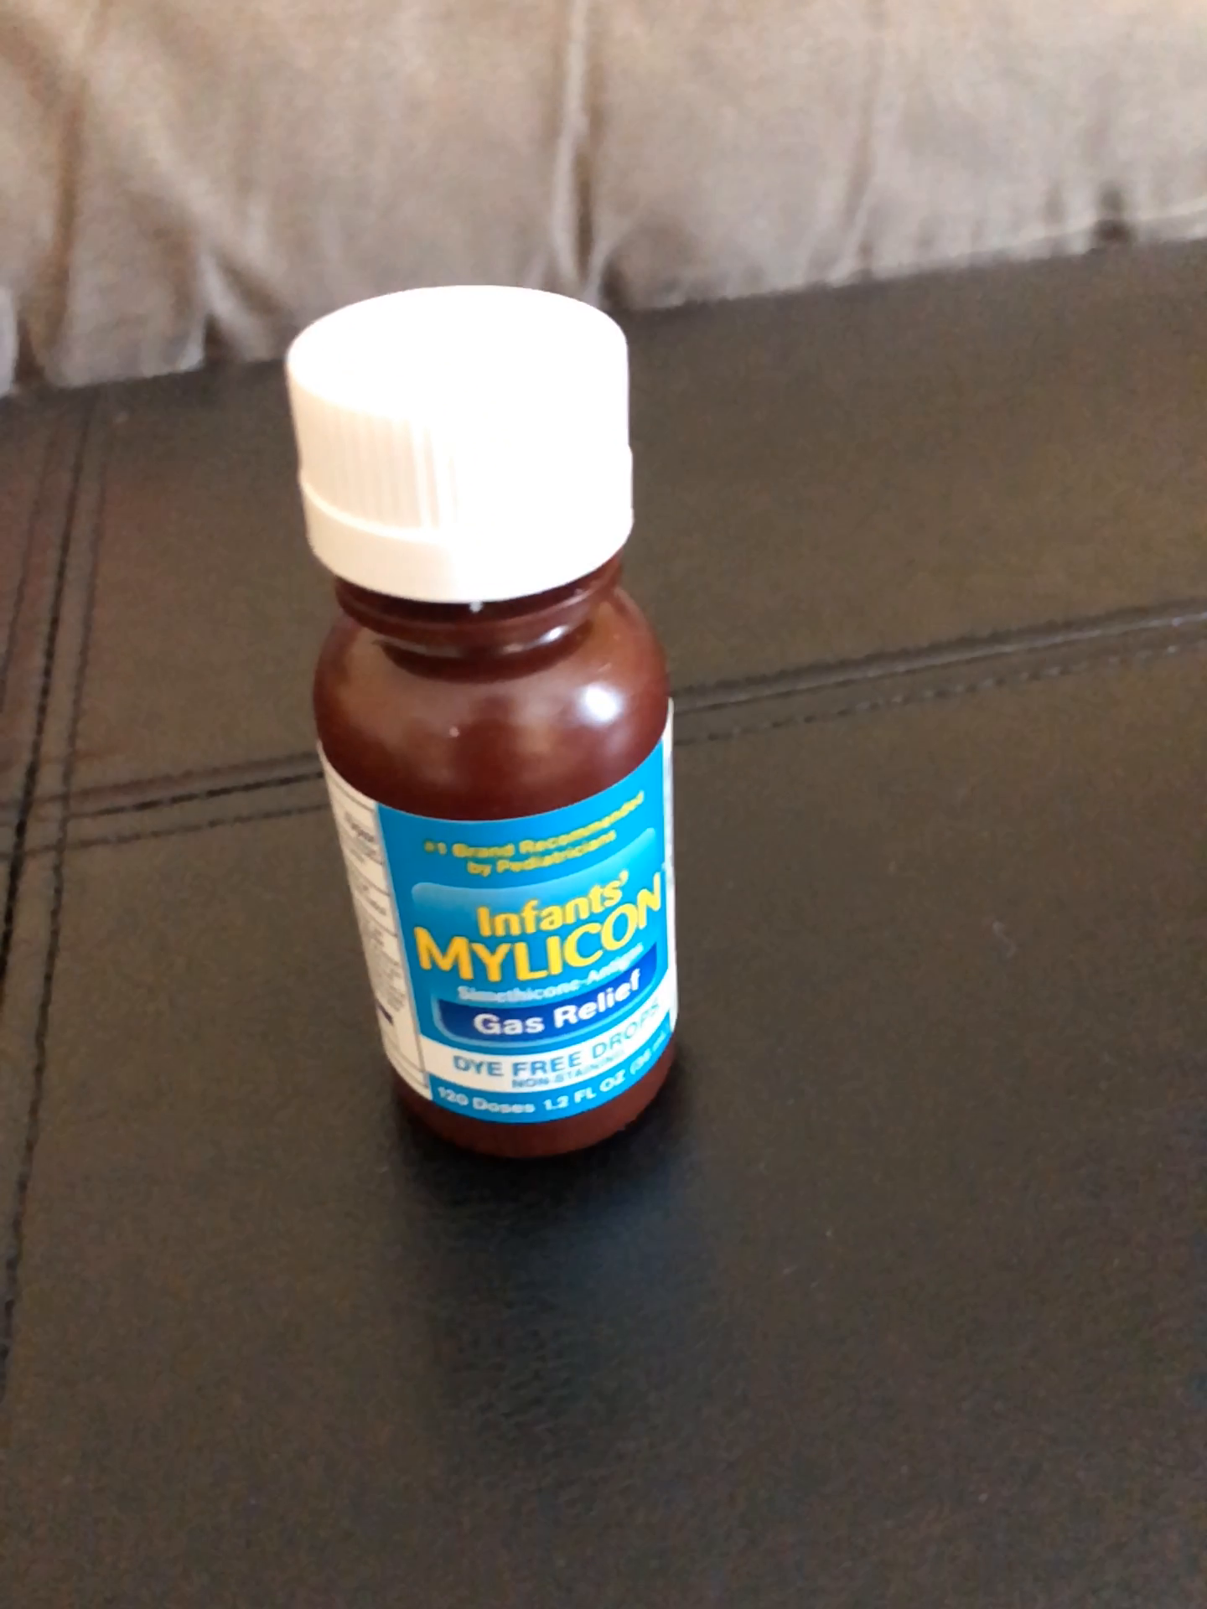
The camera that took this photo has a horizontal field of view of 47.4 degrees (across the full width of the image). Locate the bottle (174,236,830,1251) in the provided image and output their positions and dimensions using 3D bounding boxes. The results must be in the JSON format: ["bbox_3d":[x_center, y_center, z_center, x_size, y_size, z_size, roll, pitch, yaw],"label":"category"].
[{"bbox_3d":[-0.008,-0.004,0.130,0.040,0.080,0.040,-3,39,2],"label":"bottle"}]
